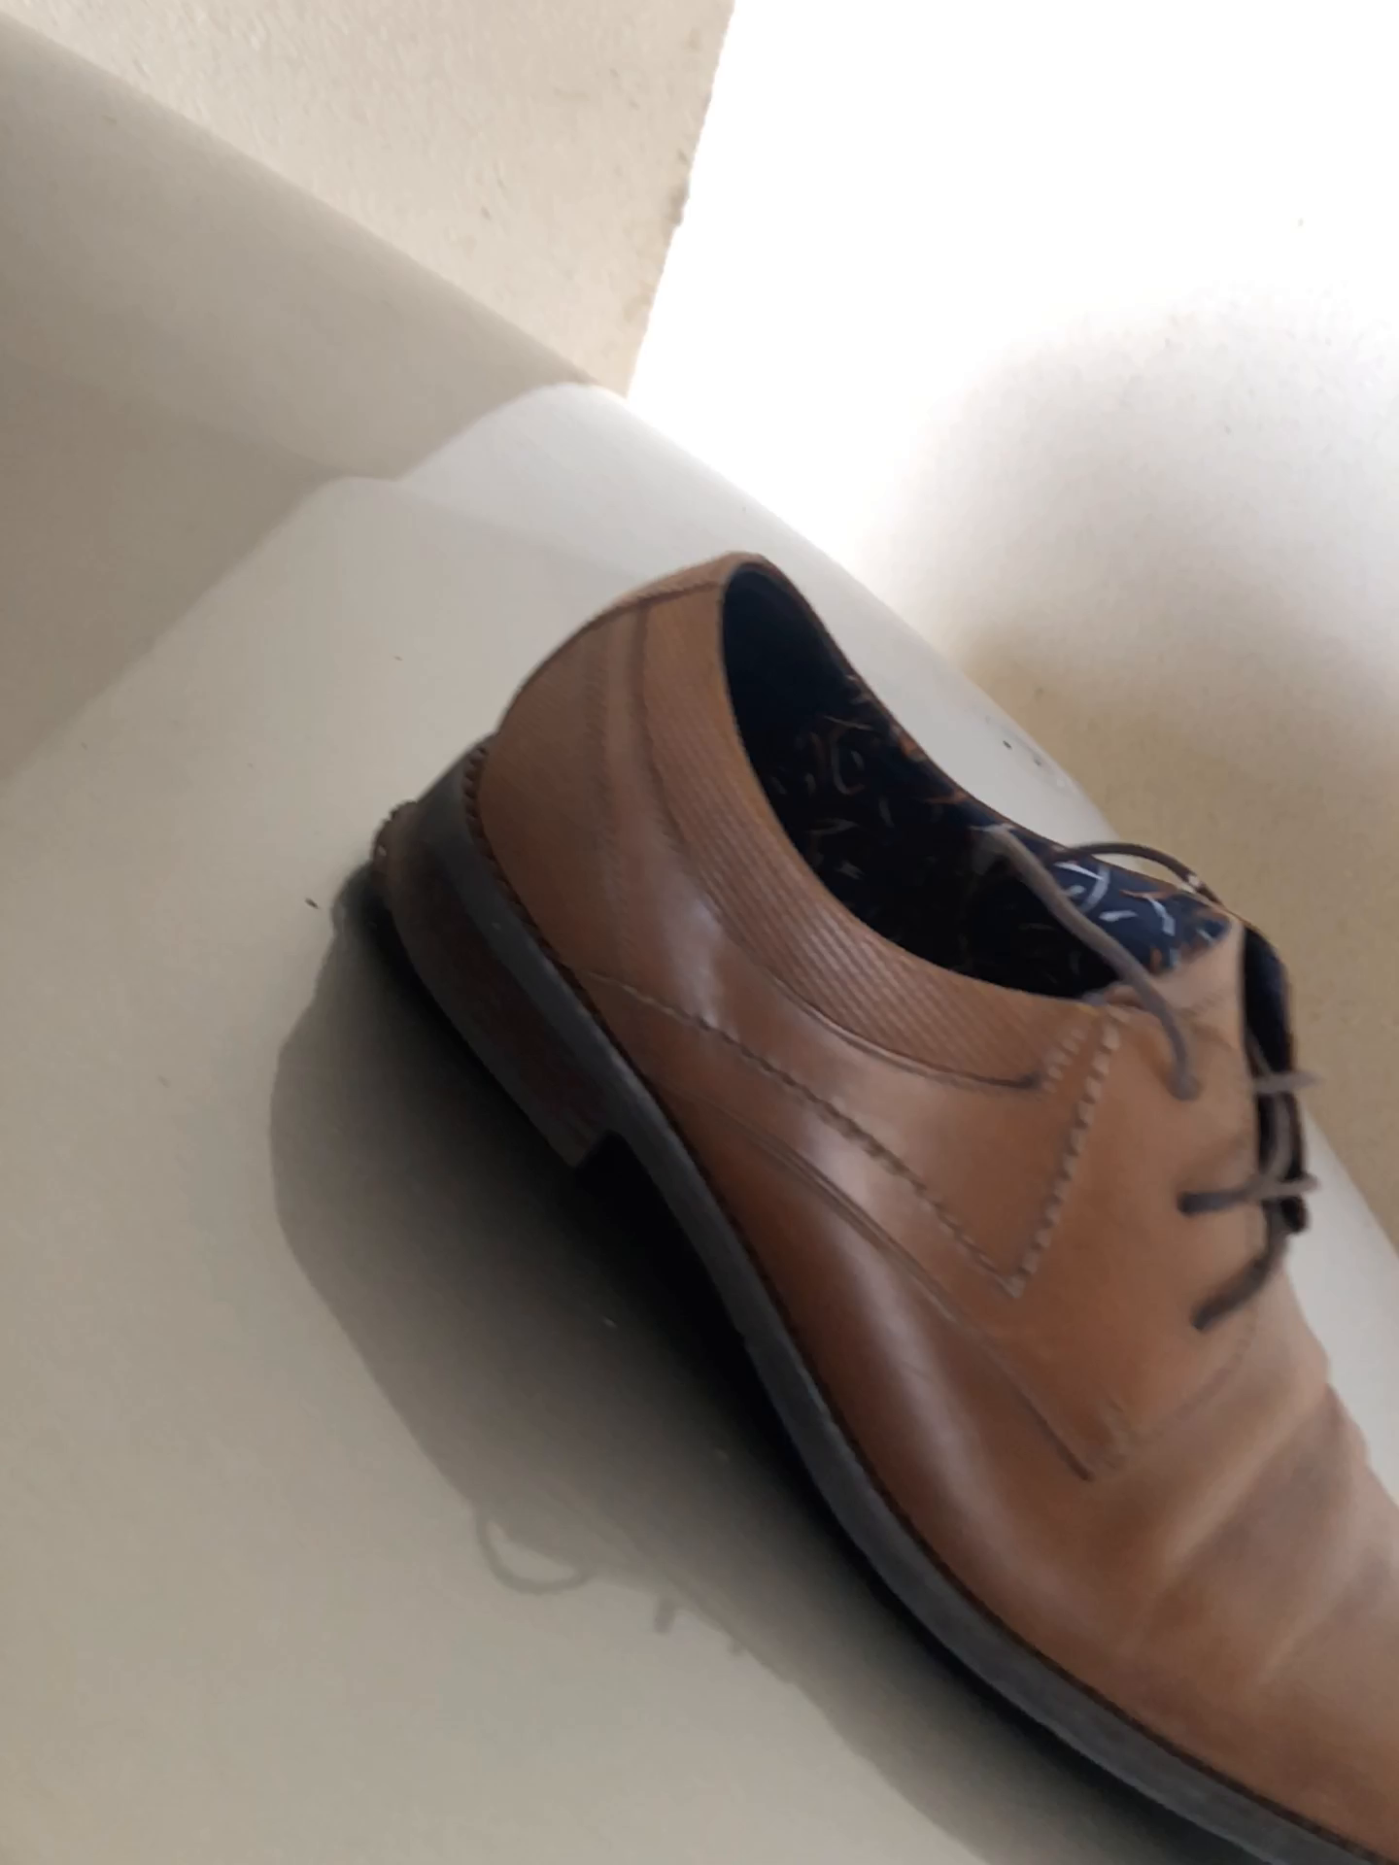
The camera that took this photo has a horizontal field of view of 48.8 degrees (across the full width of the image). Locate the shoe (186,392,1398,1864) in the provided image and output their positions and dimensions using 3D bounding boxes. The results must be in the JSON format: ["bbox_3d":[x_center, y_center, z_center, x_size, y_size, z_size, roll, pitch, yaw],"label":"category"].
[{"bbox_3d":[0.069,0.042,0.290,0.340,0.089,0.131,47,38,15],"label":"shoe"}]
